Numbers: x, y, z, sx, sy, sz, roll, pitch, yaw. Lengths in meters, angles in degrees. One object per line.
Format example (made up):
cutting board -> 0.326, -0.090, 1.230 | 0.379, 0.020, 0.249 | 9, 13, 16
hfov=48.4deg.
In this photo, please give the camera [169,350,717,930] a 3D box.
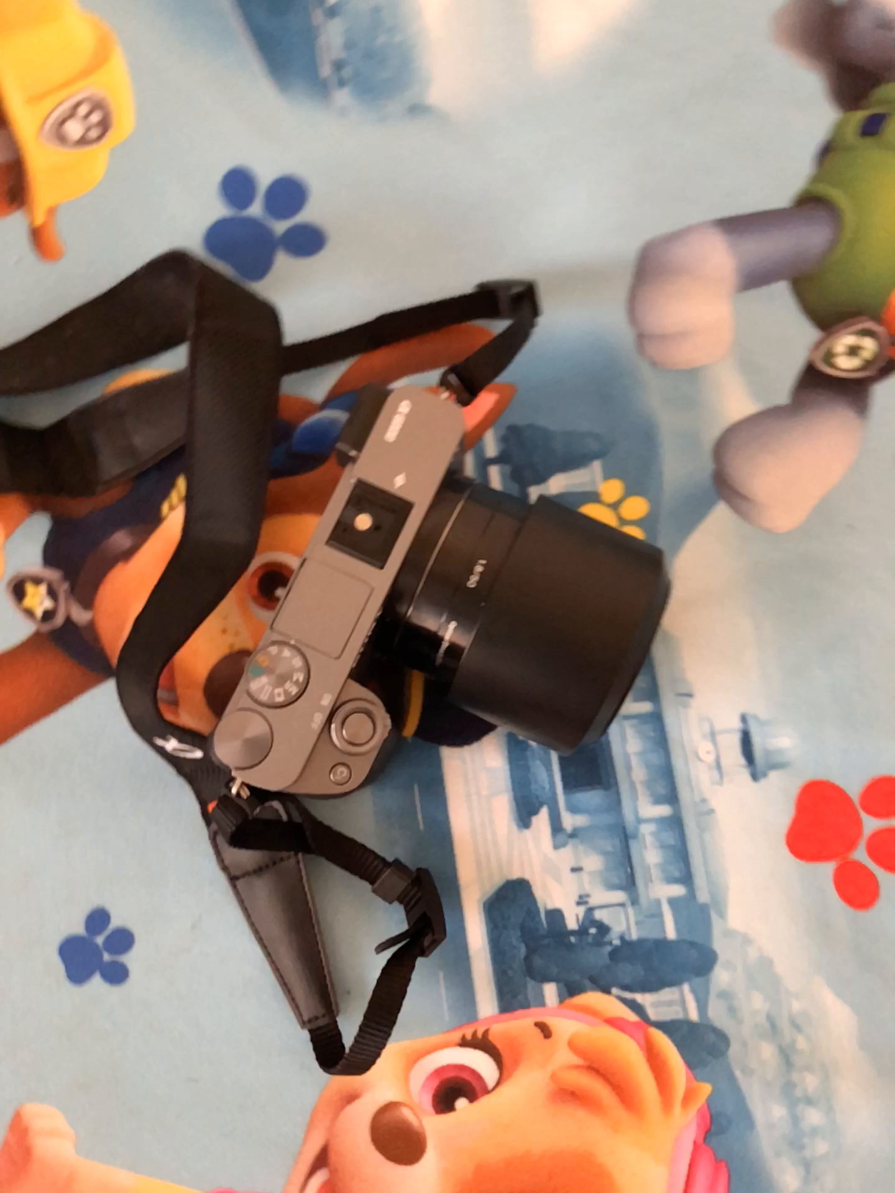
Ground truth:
camera -> 0.001, 0.014, 0.321 | 0.110, 0.080, 0.130 | 25, 84, 5
